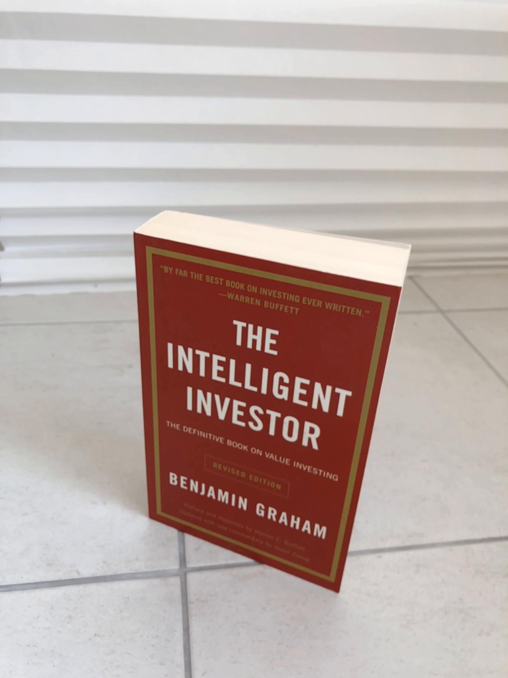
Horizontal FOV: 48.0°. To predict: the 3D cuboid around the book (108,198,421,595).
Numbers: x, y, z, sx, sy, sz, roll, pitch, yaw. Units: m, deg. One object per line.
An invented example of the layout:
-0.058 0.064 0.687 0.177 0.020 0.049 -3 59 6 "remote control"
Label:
0.001 0.036 0.341 0.149 0.206 0.057 14 32 18 "book"
